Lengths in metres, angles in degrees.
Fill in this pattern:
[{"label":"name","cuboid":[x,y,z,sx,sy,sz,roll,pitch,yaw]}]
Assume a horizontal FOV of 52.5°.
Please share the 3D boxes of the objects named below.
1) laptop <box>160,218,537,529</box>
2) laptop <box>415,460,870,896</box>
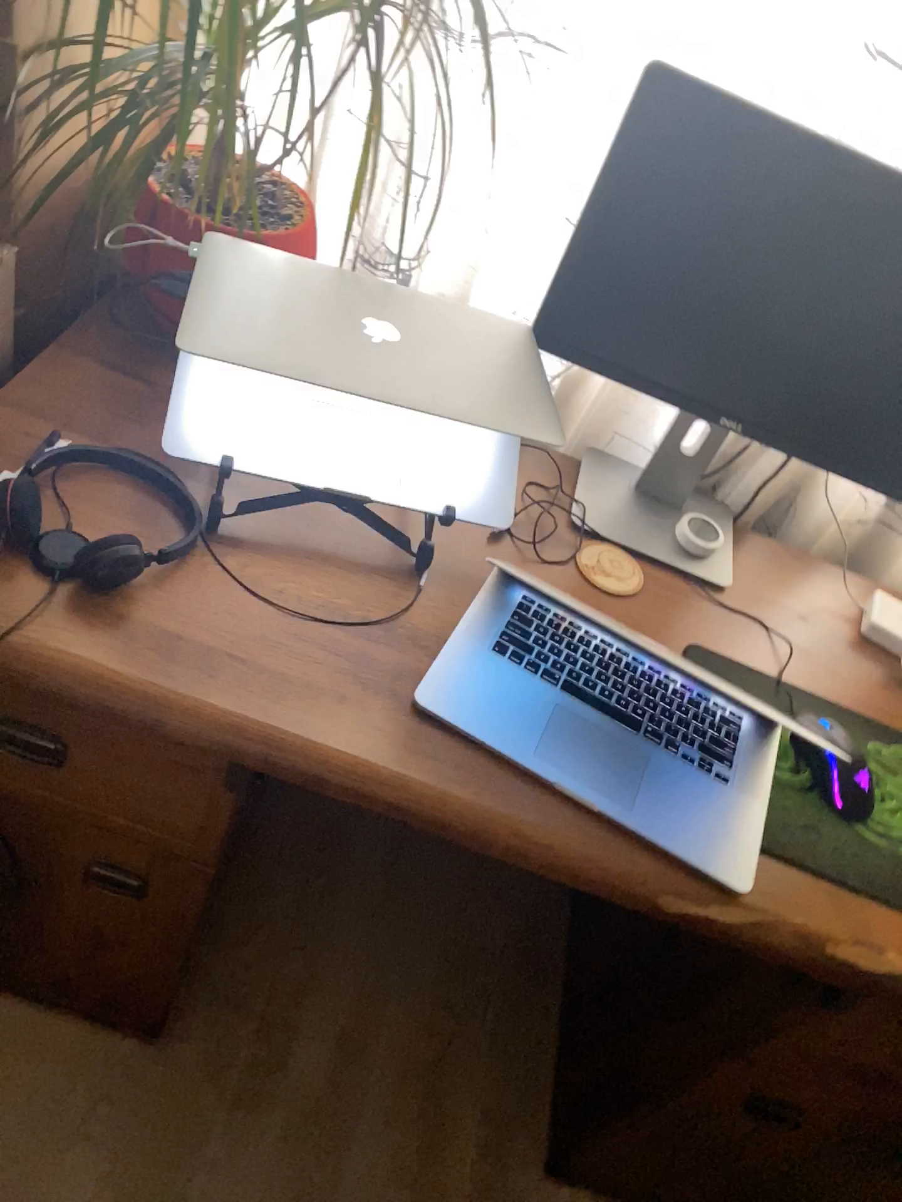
[{"label":"laptop","cuboid":[-0.087,-0.229,0.928,0.355,0.022,0.243,11,69,-15]},{"label":"laptop","cuboid":[0.189,0.062,0.881,0.355,0.152,0.236,30,43,4]}]
